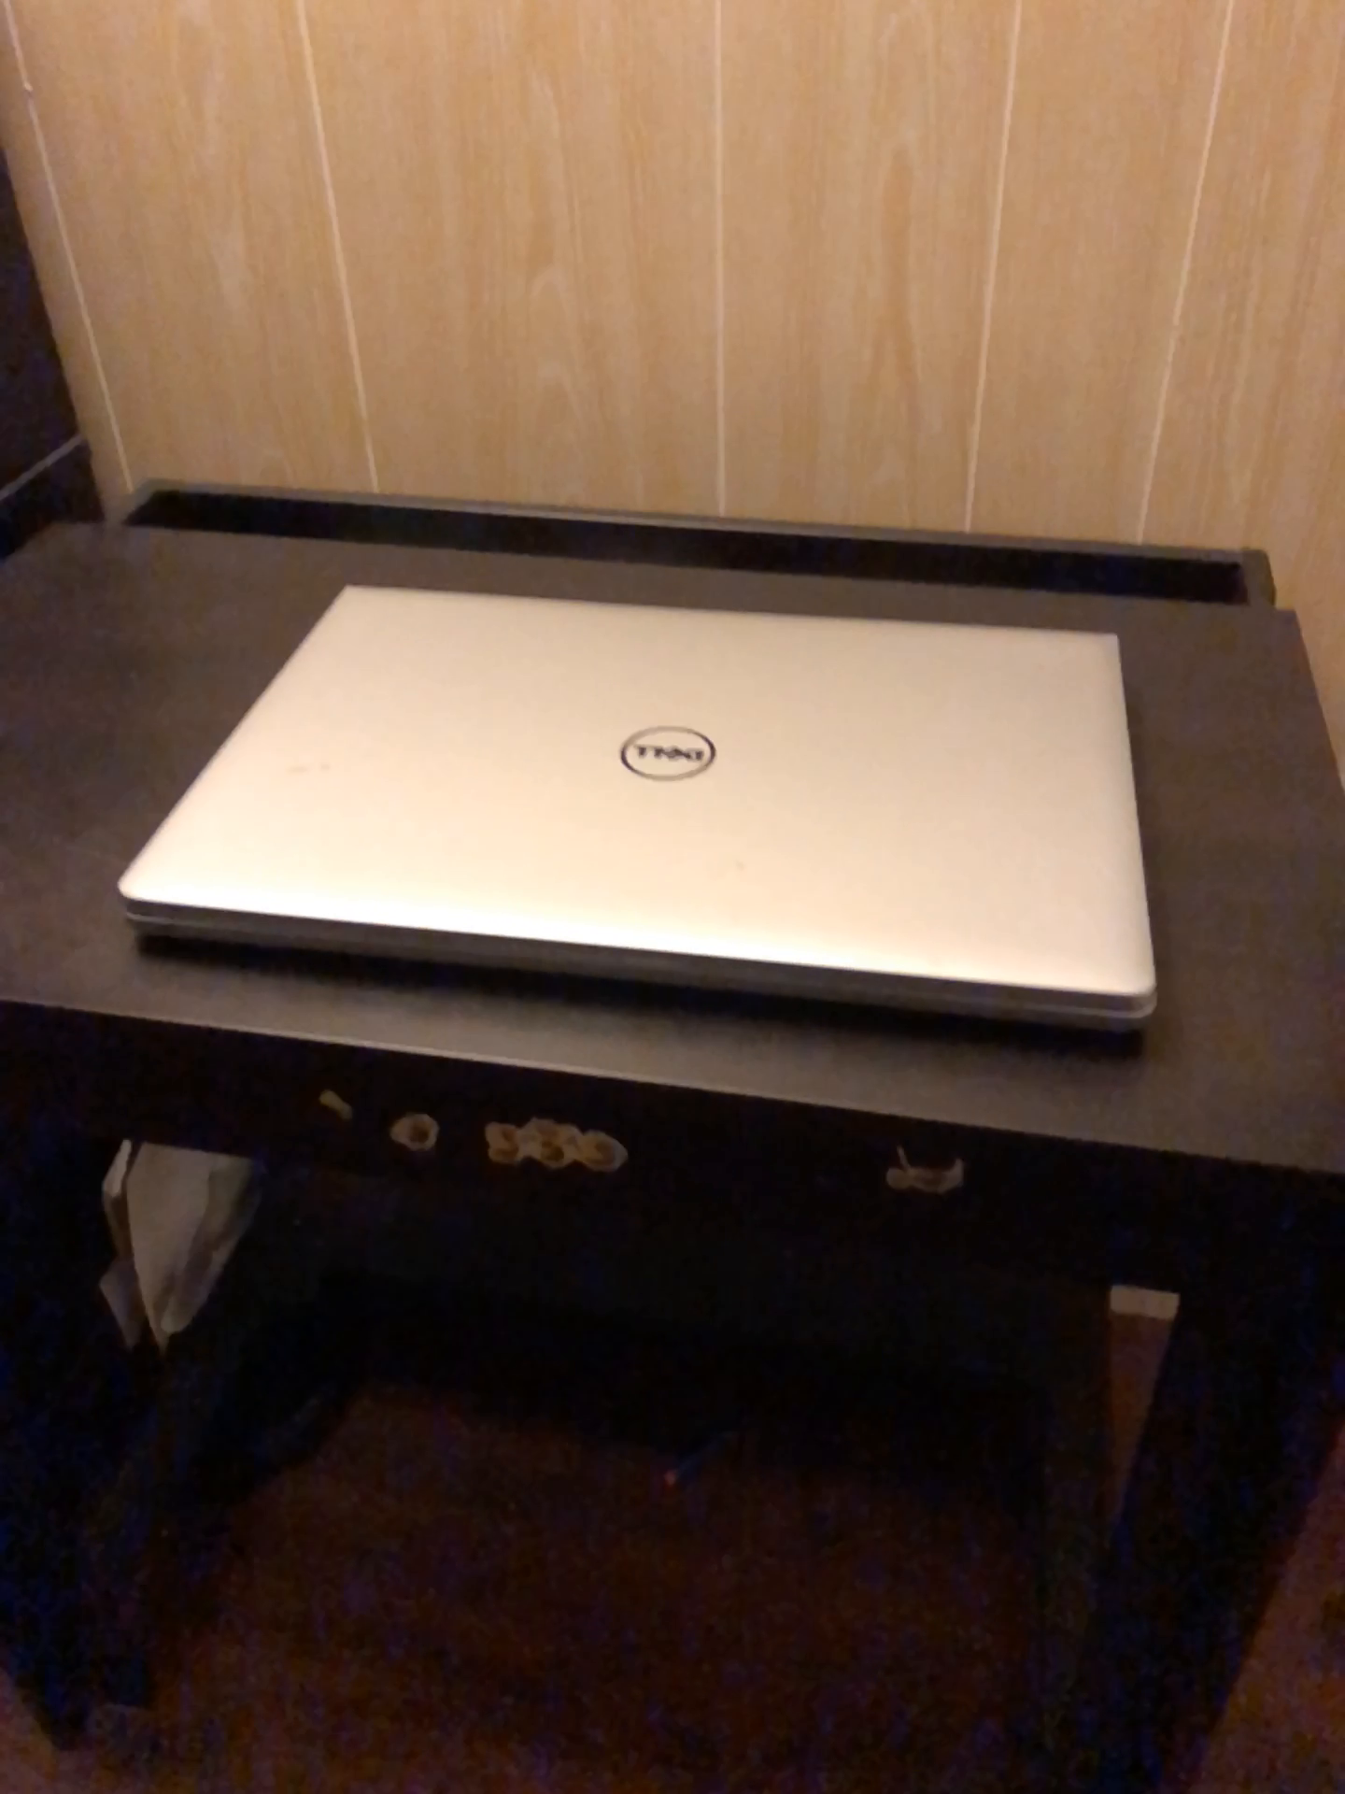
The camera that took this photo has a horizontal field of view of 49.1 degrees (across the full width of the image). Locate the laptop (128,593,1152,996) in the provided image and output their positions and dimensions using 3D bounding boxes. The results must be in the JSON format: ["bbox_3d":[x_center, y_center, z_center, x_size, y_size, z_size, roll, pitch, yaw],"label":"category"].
[{"bbox_3d":[-0.001,-0.060,0.618,0.370,0.003,0.251,5,39,10],"label":"laptop"}]
